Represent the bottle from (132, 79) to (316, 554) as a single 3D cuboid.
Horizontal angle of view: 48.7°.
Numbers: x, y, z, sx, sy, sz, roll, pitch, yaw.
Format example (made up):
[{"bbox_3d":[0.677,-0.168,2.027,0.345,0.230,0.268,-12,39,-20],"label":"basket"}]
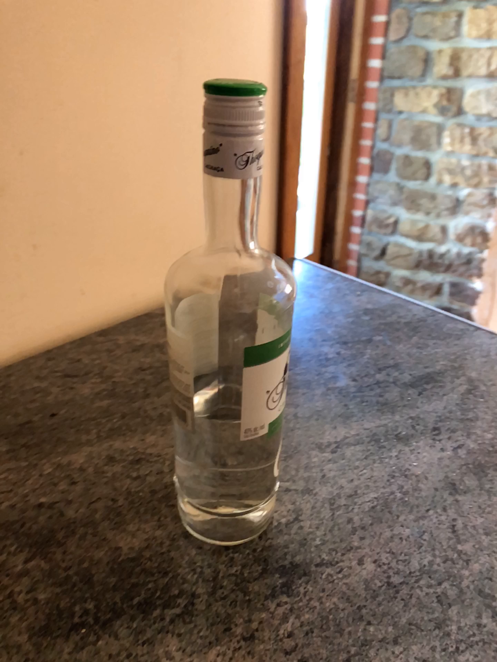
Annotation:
[{"bbox_3d":[-0.009,0.001,0.337,0.080,0.278,0.080,1,27,0],"label":"bottle"}]
